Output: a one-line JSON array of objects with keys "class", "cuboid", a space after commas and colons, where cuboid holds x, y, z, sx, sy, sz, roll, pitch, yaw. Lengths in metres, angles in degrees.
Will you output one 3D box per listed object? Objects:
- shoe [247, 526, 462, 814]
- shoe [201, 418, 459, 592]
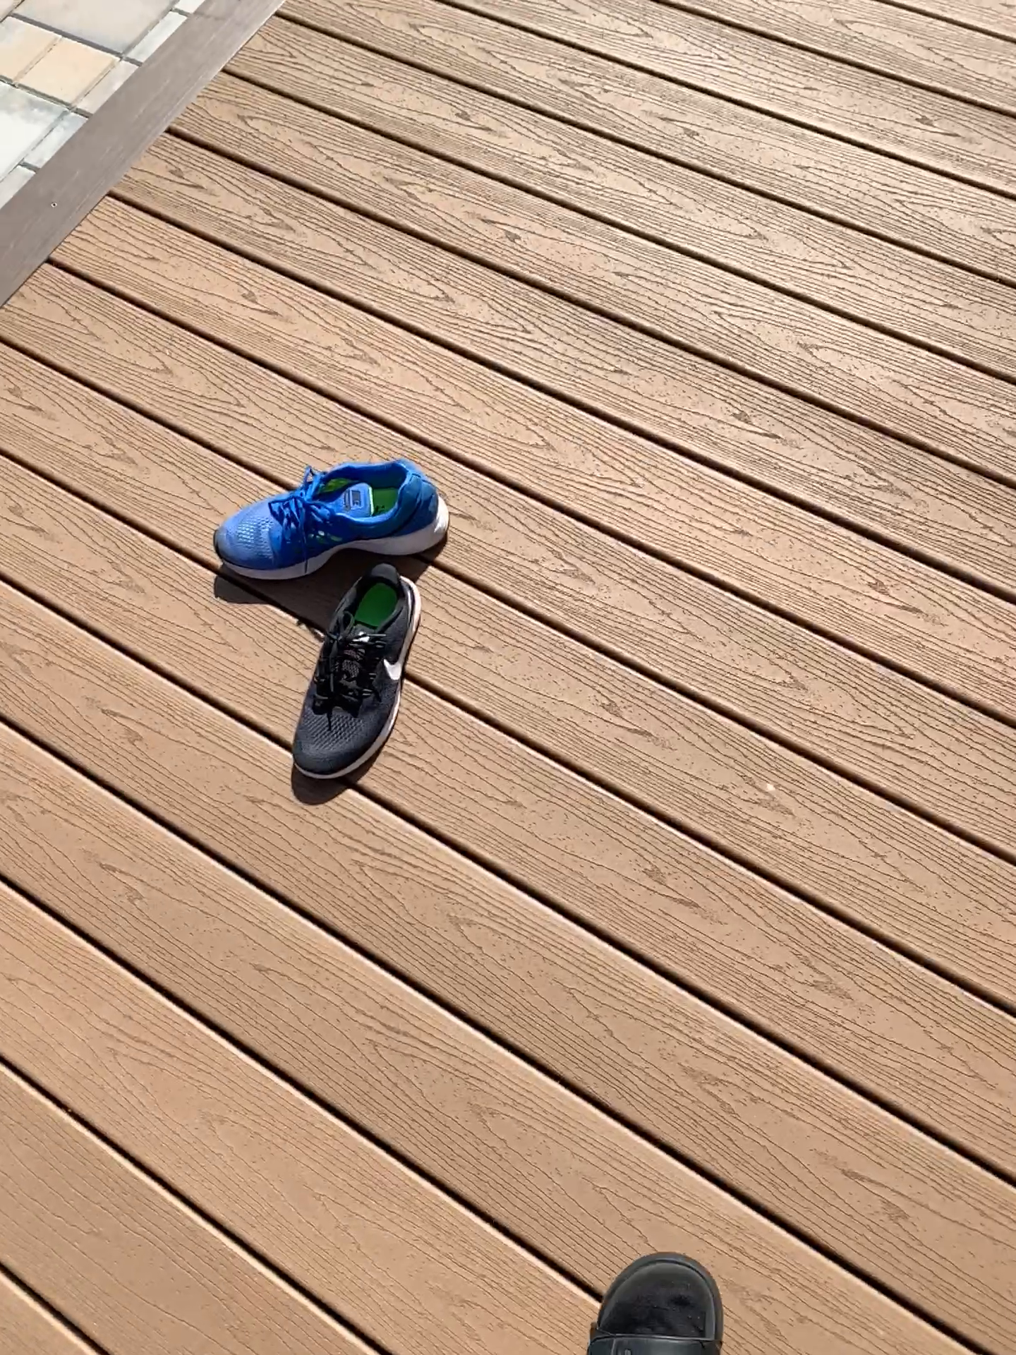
[{"class": "shoe", "cuboid": [-0.168, -0.011, 1.191, 0.120, 0.110, 0.290, 17, 70, 12]}, {"class": "shoe", "cuboid": [-0.219, -0.213, 1.296, 0.290, 0.130, 0.120, -9, 67, 1]}]
